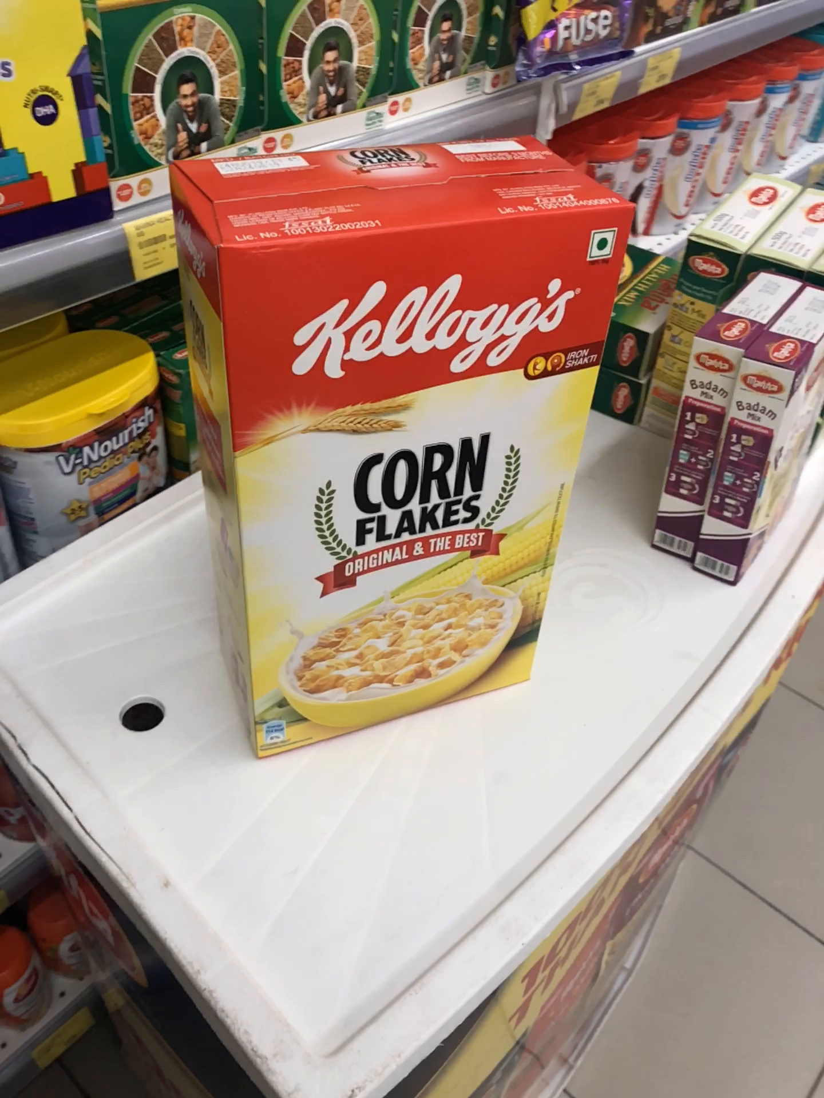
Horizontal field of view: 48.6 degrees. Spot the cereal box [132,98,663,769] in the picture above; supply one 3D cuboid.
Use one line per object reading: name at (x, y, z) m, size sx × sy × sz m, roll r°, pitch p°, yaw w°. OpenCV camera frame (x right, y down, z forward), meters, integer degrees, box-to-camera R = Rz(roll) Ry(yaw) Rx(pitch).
cereal box at (-0.017, -0.048, 0.498) m, size 0.200 × 0.329 × 0.110 m, roll -13°, pitch 45°, yaw -18°
